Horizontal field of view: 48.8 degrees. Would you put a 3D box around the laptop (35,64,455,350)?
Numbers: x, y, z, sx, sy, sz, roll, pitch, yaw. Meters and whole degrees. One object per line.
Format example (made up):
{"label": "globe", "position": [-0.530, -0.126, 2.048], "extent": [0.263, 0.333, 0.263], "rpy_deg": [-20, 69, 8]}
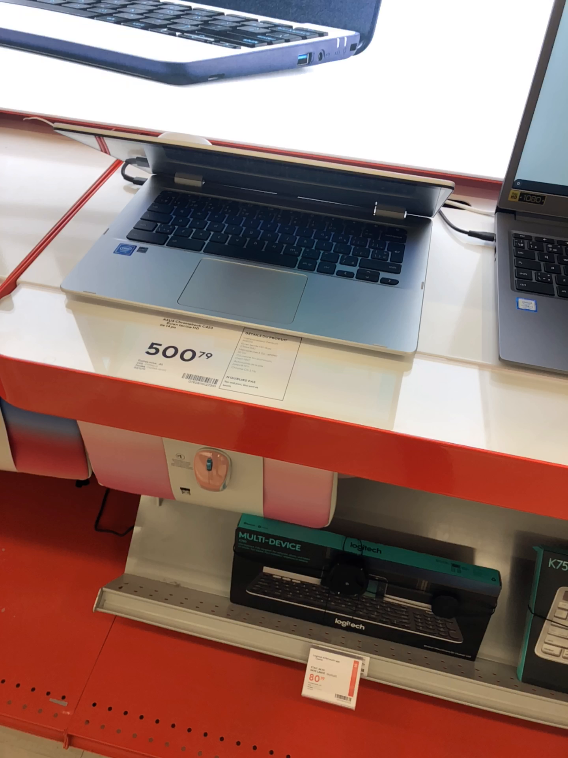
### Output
{"label": "laptop", "position": [-0.017, -0.170, 0.576], "extent": [0.311, 0.119, 0.214], "rpy_deg": [11, 45, 7]}
